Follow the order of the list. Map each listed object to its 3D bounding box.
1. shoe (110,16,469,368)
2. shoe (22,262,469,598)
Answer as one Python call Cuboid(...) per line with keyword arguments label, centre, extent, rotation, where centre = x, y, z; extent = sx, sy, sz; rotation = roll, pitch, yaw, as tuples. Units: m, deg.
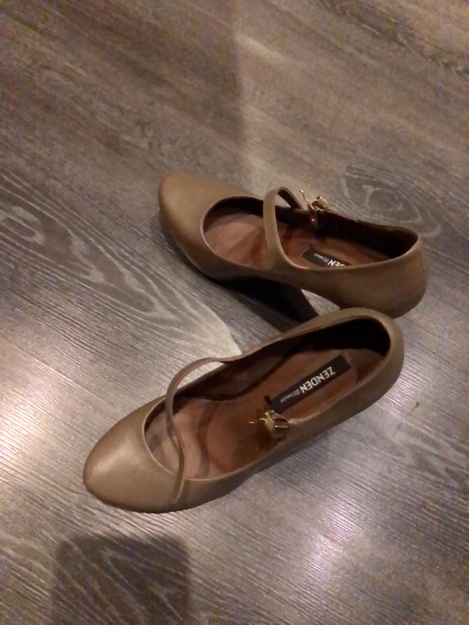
Cuboid(label="shoe", centre=(0.033, -0.071, 0.371), extent=(0.210, 0.150, 0.090), rotation=(33, 71, 5))
Cuboid(label="shoe", centre=(0.008, 0.069, 0.321), extent=(0.210, 0.150, 0.090), rotation=(-19, 75, -12))
